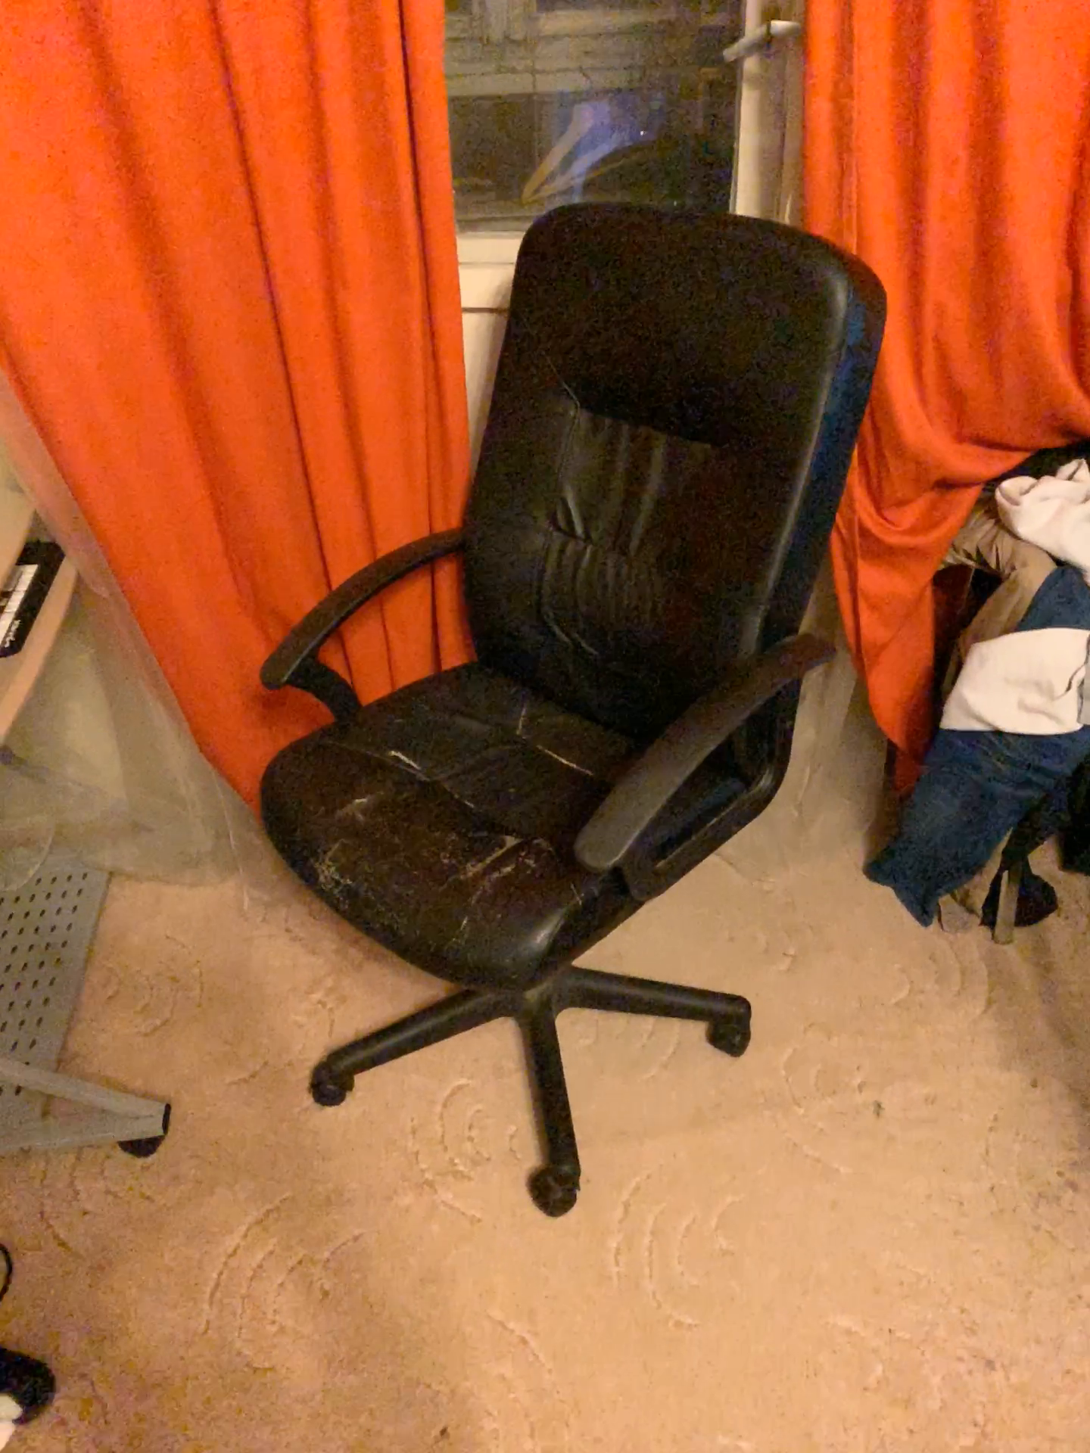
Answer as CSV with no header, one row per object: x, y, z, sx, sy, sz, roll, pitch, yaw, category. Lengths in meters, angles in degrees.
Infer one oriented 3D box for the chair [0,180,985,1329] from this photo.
-0.027,-0.018,1.466,0.712,1.123,0.743,26,44,35,chair
